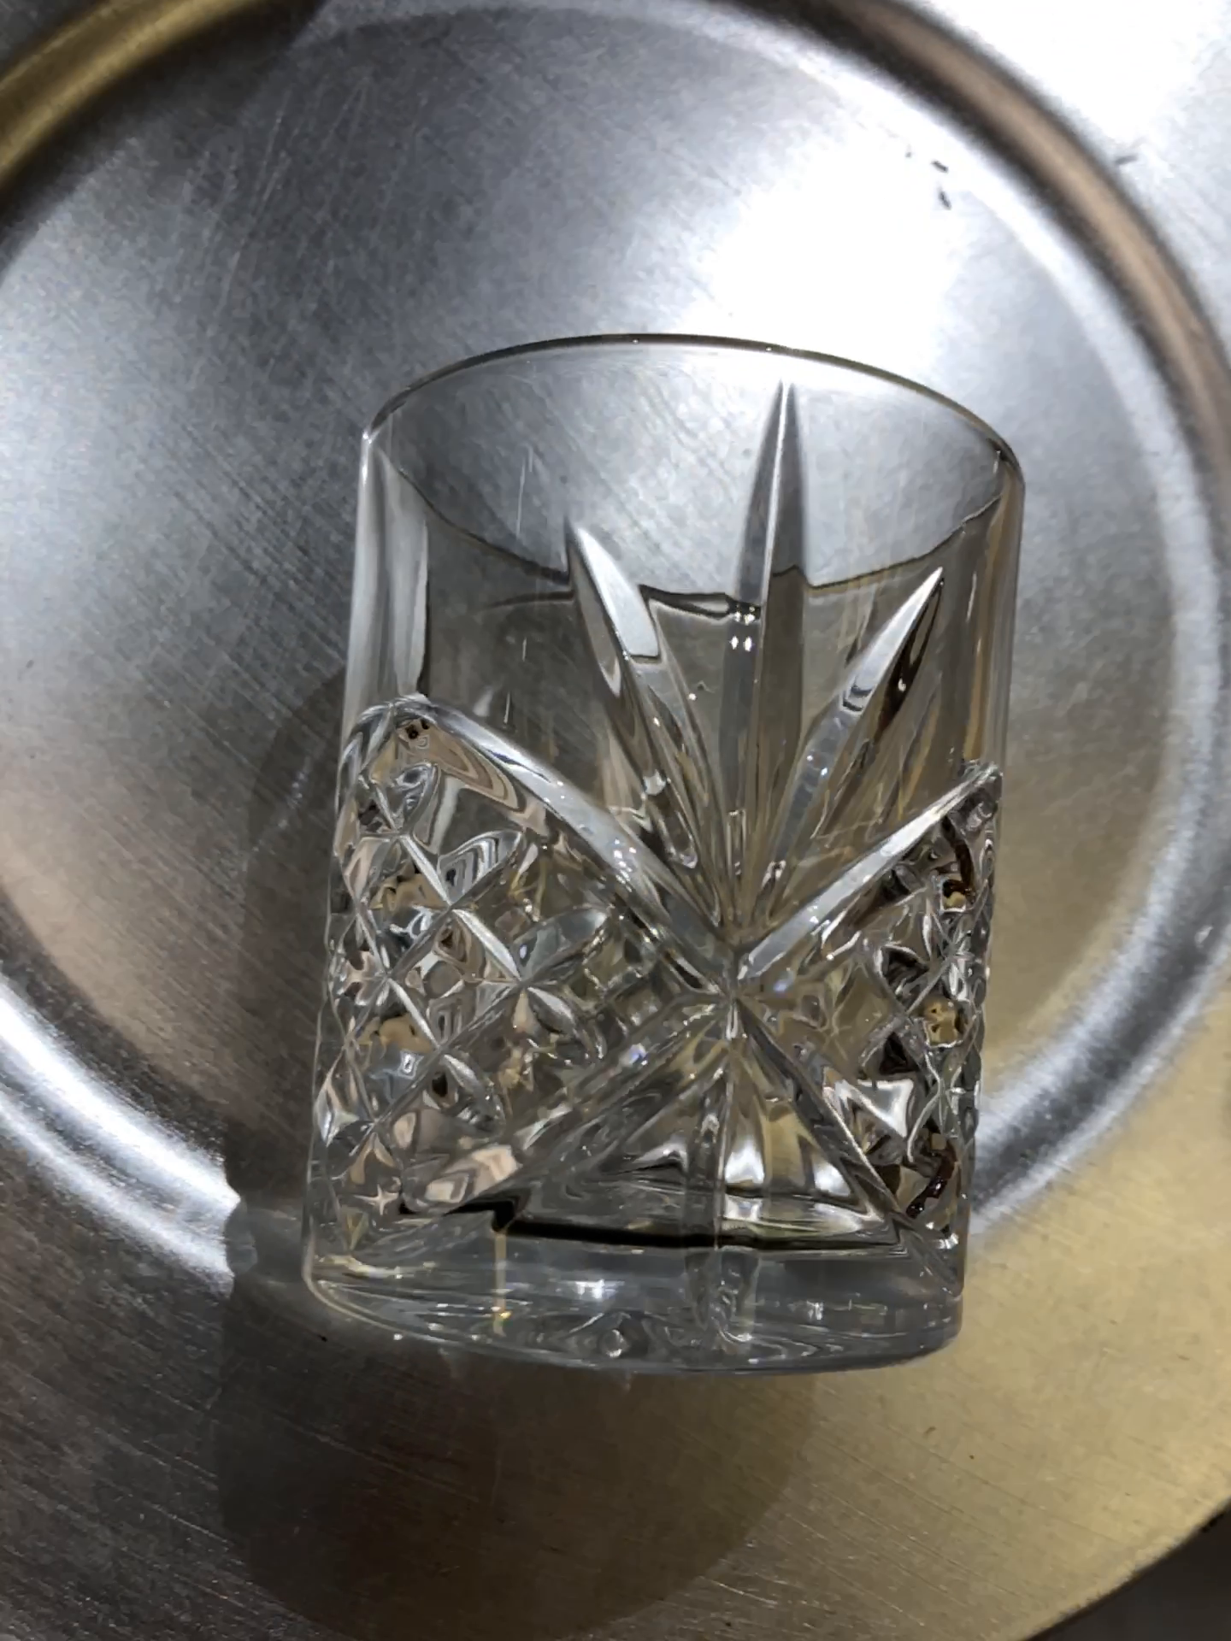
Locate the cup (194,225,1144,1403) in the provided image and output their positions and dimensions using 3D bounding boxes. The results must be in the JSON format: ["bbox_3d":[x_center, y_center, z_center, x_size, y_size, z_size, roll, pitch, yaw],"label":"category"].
[{"bbox_3d":[0.005,0.002,0.154,0.080,0.060,0.100,5,81,-7],"label":"cup"}]
